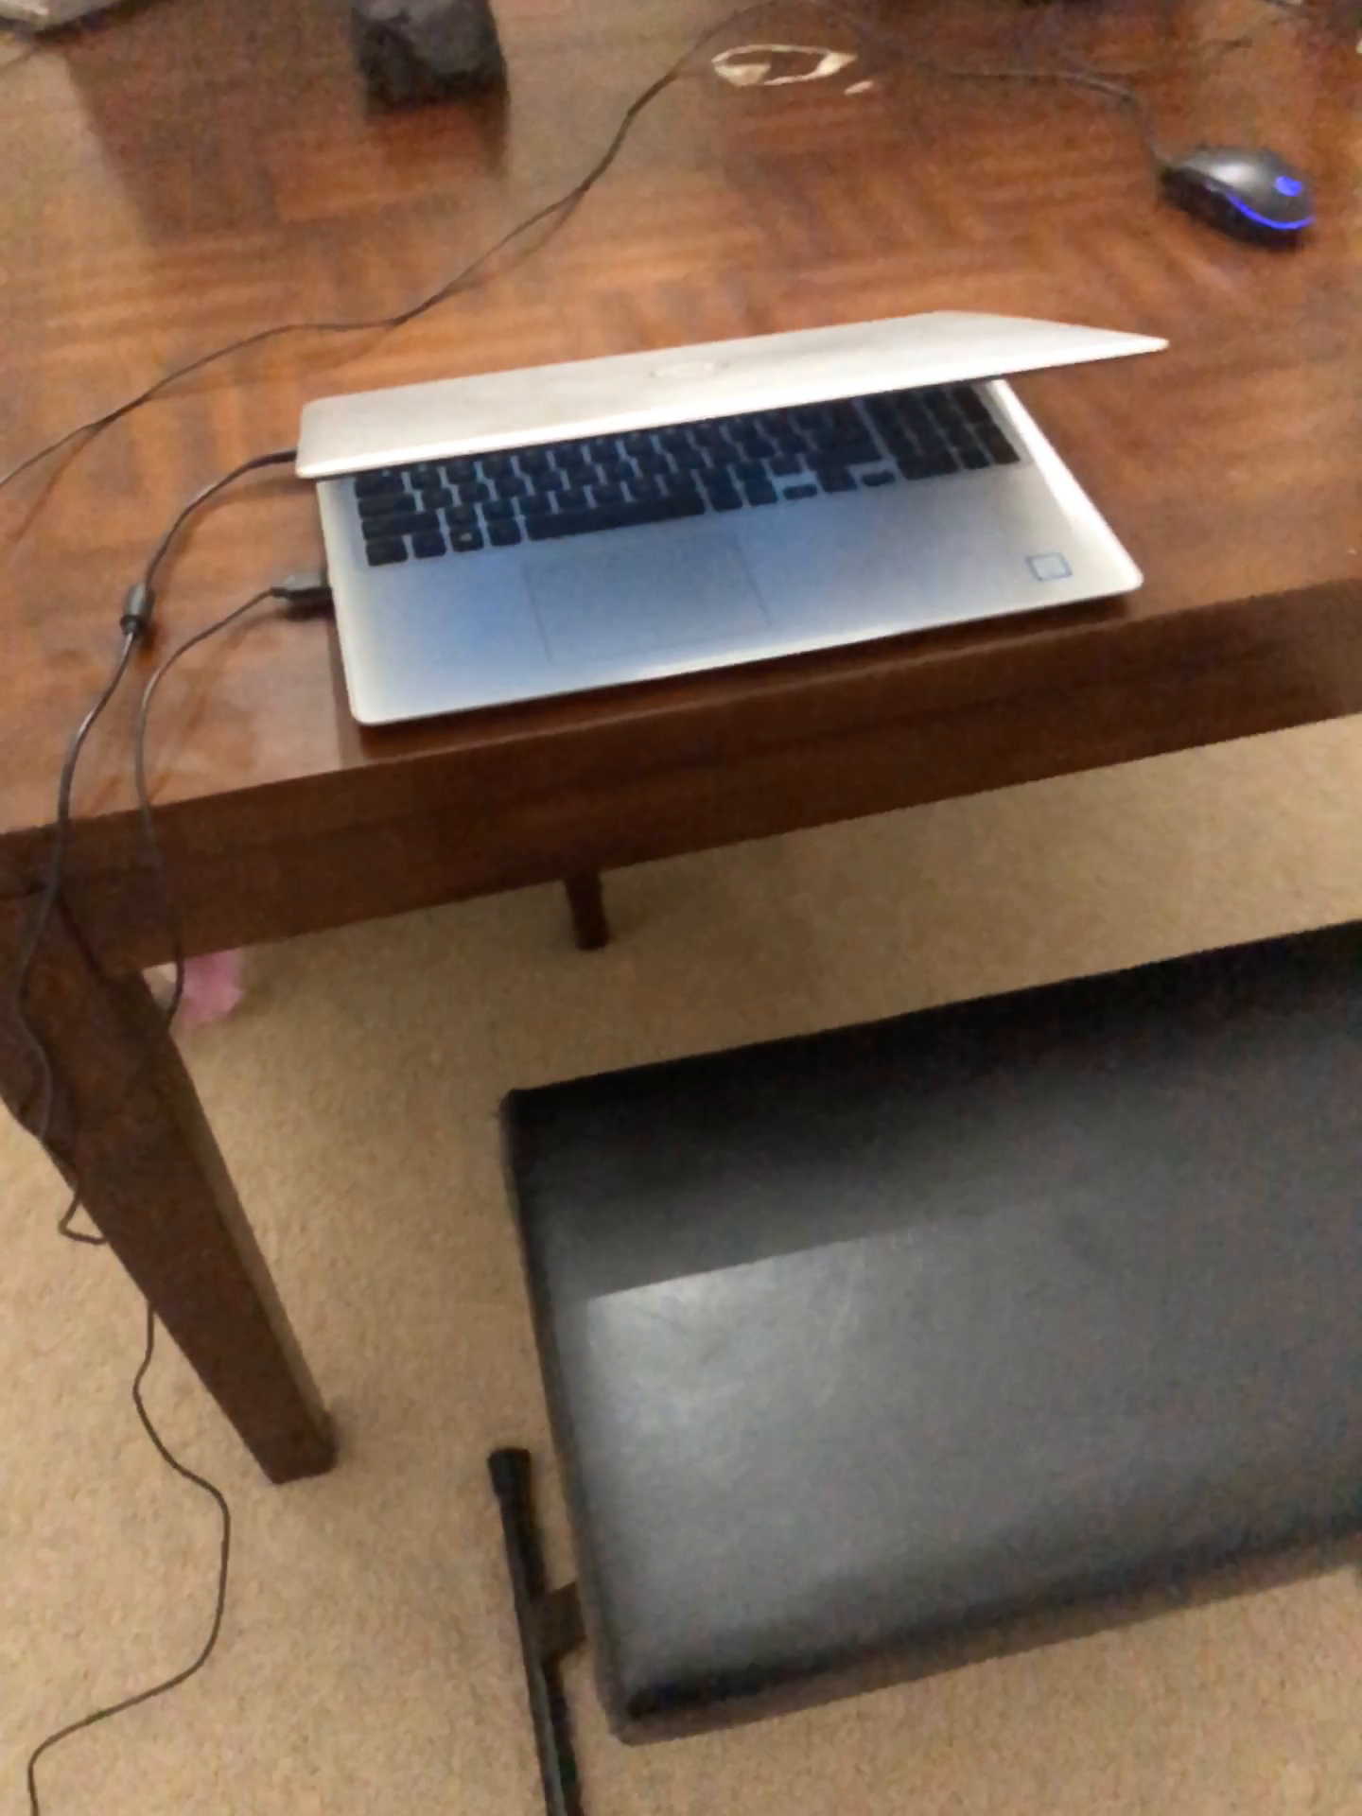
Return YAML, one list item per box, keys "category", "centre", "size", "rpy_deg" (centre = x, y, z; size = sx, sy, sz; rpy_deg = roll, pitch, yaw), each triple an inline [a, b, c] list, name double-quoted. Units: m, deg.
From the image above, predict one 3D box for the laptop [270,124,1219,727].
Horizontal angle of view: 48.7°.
- category: "laptop"
  centre: [0.013, -0.242, 0.716]
  size: [0.368, 0.103, 0.250]
  rpy_deg: [-11, 52, -8]
